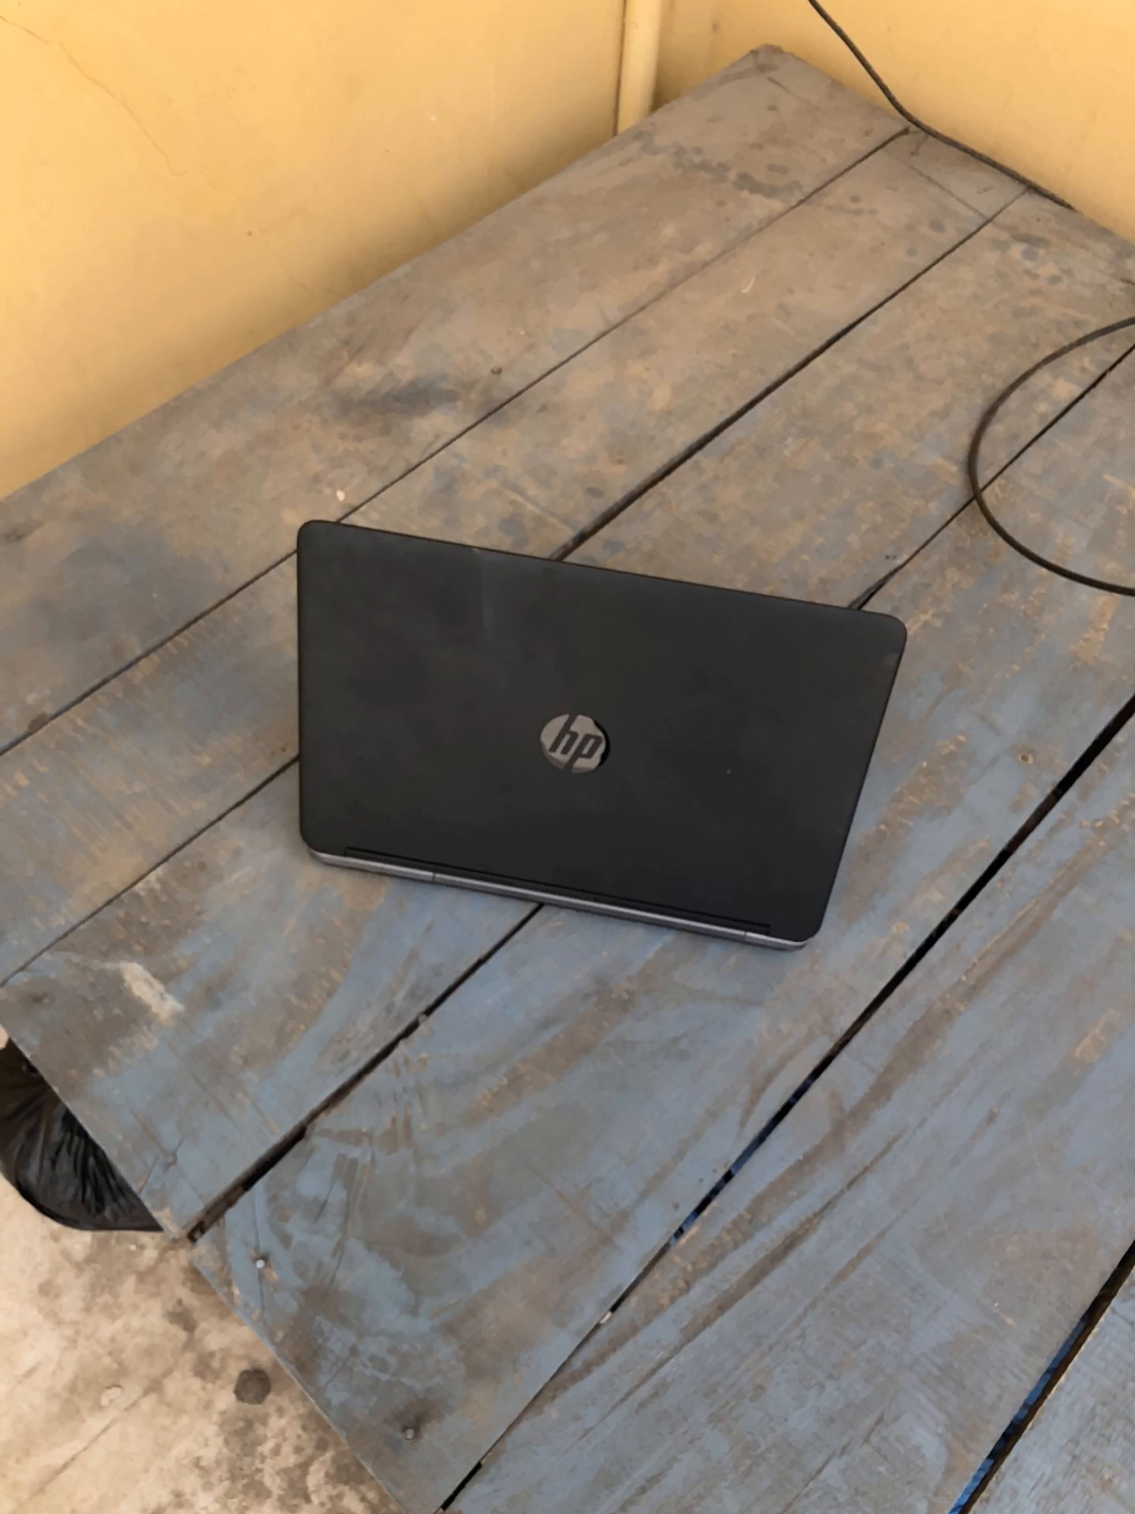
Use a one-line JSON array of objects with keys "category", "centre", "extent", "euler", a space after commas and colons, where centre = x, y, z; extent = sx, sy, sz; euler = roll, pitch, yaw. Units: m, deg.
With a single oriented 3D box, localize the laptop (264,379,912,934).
[{"category": "laptop", "centre": [0.020, -0.057, 0.761], "extent": [0.316, 0.196, 0.211], "euler": [10, 58, 4]}]
